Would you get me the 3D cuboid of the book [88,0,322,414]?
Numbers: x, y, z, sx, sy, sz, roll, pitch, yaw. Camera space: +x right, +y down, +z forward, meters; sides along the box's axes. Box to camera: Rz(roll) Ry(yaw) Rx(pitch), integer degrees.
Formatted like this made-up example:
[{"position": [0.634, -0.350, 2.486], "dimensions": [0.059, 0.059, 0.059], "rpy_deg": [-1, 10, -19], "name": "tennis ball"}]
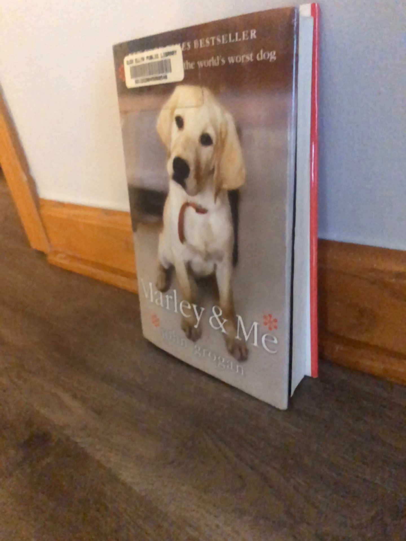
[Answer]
[{"position": [-0.001, -0.040, 0.295], "dimensions": [0.040, 0.219, 0.151], "rpy_deg": [-21, 25, -39], "name": "book"}]
